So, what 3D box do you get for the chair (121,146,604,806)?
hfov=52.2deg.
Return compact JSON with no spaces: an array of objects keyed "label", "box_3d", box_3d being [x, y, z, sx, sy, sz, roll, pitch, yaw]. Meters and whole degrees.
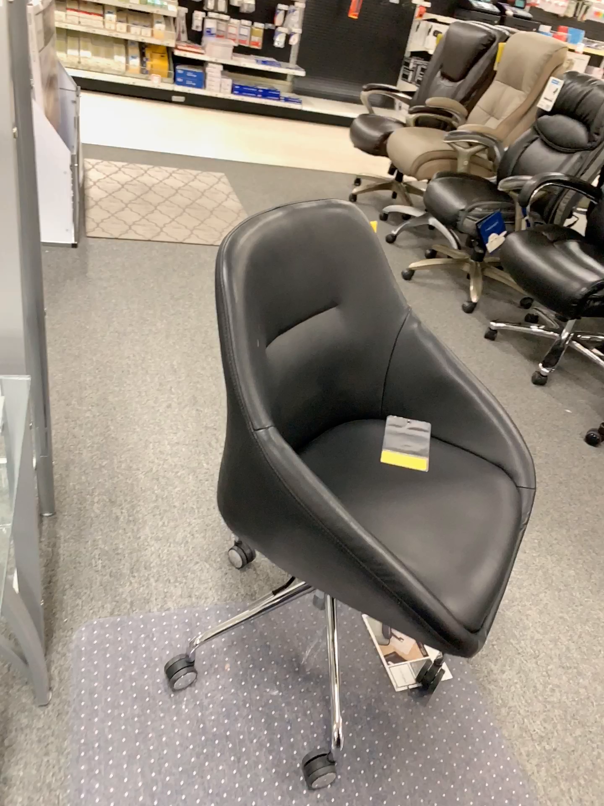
[{"label":"chair","box_3d":[0.155,0.128,1.109,0.620,0.885,0.673,25,37,17]}]
